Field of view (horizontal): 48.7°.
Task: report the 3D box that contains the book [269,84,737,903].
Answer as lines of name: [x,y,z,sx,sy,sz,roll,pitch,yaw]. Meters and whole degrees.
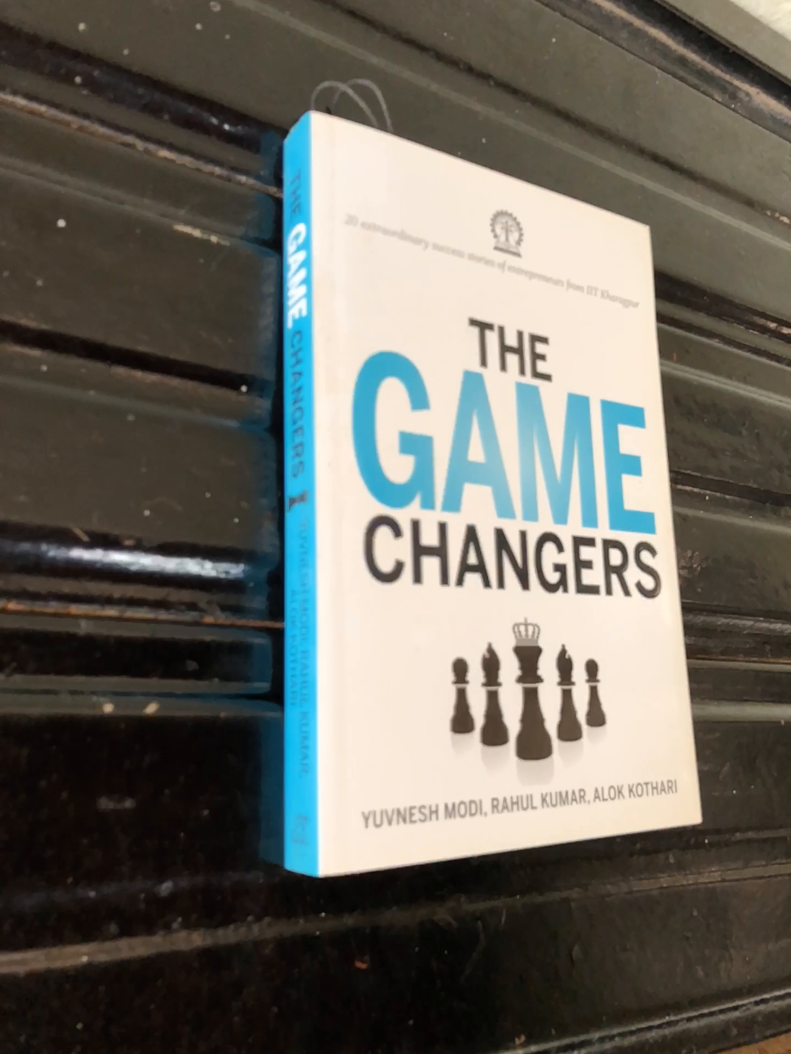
book: [0.032,-0.008,0.244,0.131,0.030,0.190,6,77,-31]
